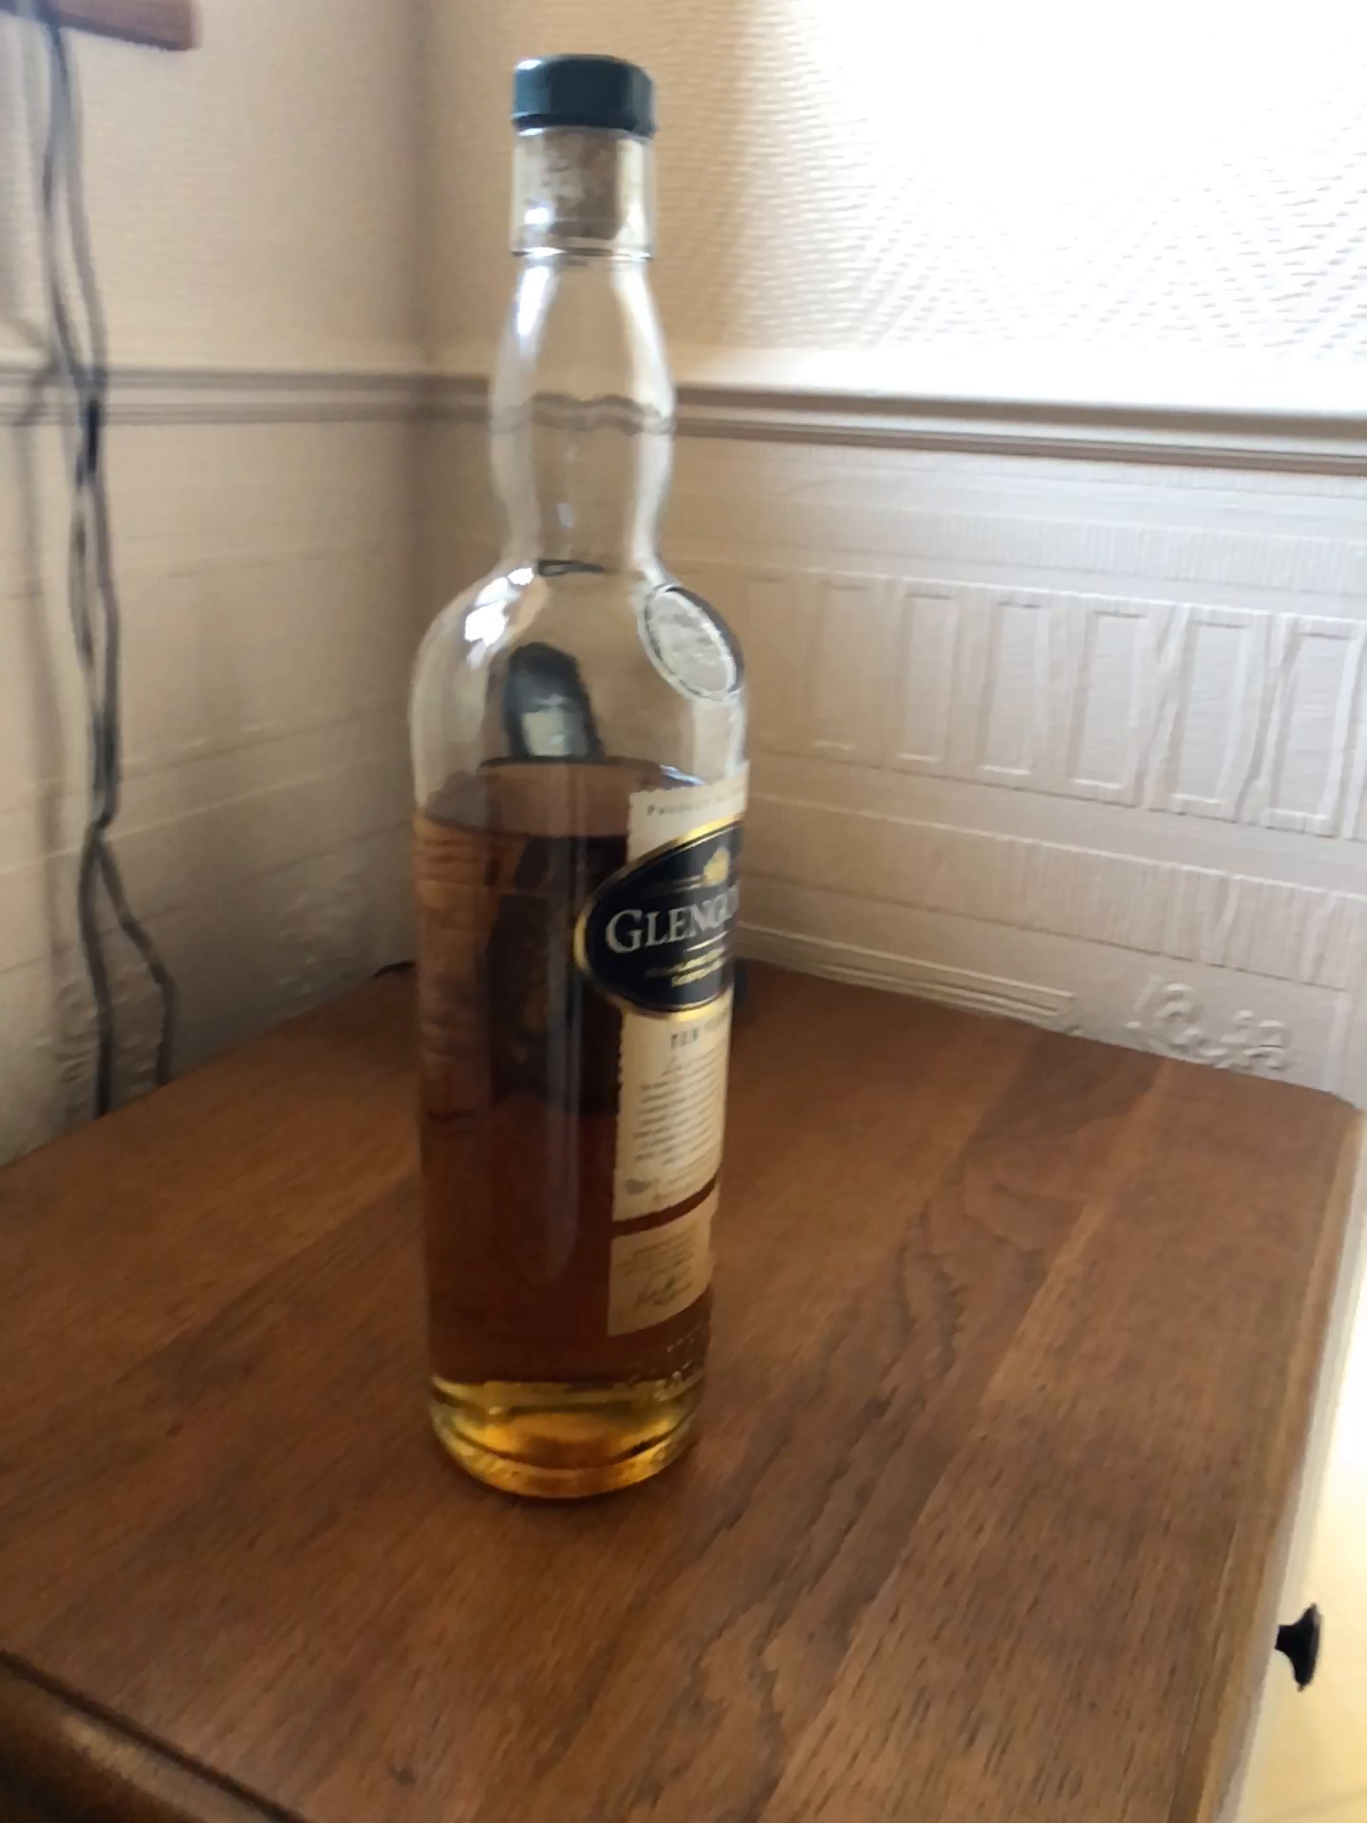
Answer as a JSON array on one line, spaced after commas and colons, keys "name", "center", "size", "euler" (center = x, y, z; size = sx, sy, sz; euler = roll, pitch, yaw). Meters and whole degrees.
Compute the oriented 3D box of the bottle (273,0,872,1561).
[{"name": "bottle", "center": [-0.024, -0.023, 0.347], "size": [0.080, 0.319, 0.090], "euler": [13, 22, 28]}]
